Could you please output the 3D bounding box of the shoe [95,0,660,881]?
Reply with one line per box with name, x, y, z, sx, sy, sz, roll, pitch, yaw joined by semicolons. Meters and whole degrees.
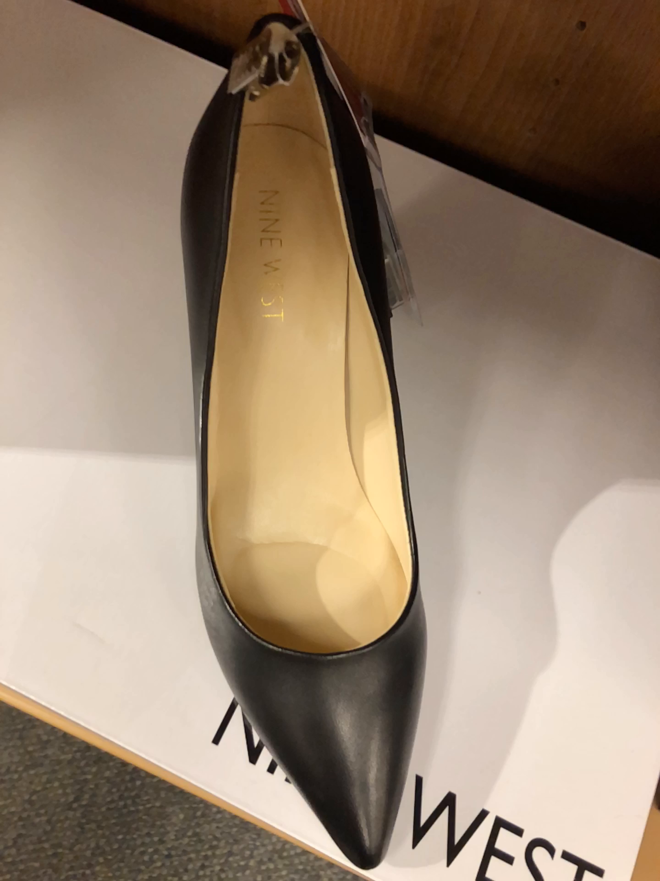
shoe;-0.002;0.008;0.236;0.096;0.160;0.255;-7;70;-7
